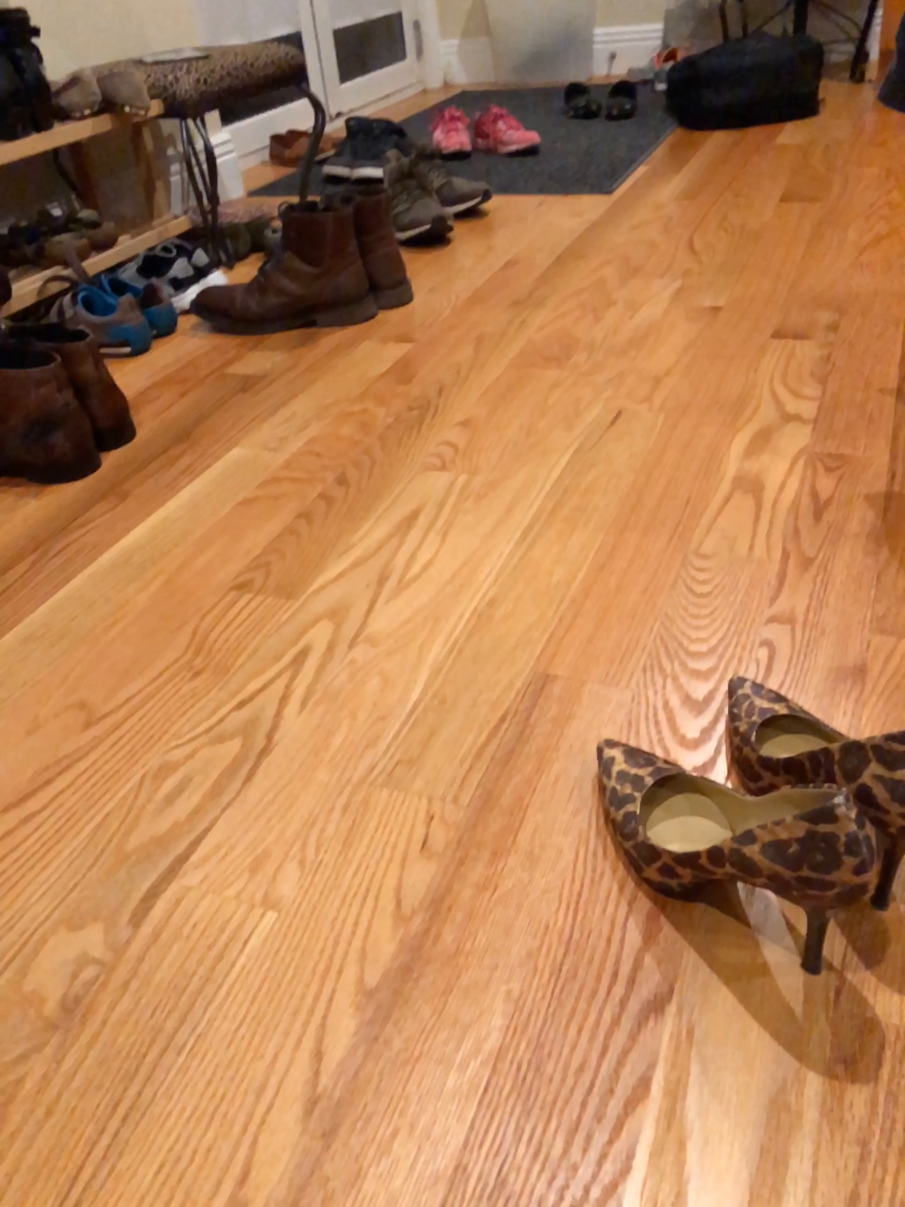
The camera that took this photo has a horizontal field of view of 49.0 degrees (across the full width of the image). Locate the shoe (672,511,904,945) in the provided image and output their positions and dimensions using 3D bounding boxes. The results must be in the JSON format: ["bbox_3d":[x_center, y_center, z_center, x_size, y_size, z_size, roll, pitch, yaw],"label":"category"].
[{"bbox_3d":[0.215,0.062,0.602,0.076,0.135,0.228,-11,34,-7],"label":"shoe"}]

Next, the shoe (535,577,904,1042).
[{"bbox_3d":[0.147,0.103,0.569,0.076,0.136,0.228,-22,37,-22],"label":"shoe"}]
